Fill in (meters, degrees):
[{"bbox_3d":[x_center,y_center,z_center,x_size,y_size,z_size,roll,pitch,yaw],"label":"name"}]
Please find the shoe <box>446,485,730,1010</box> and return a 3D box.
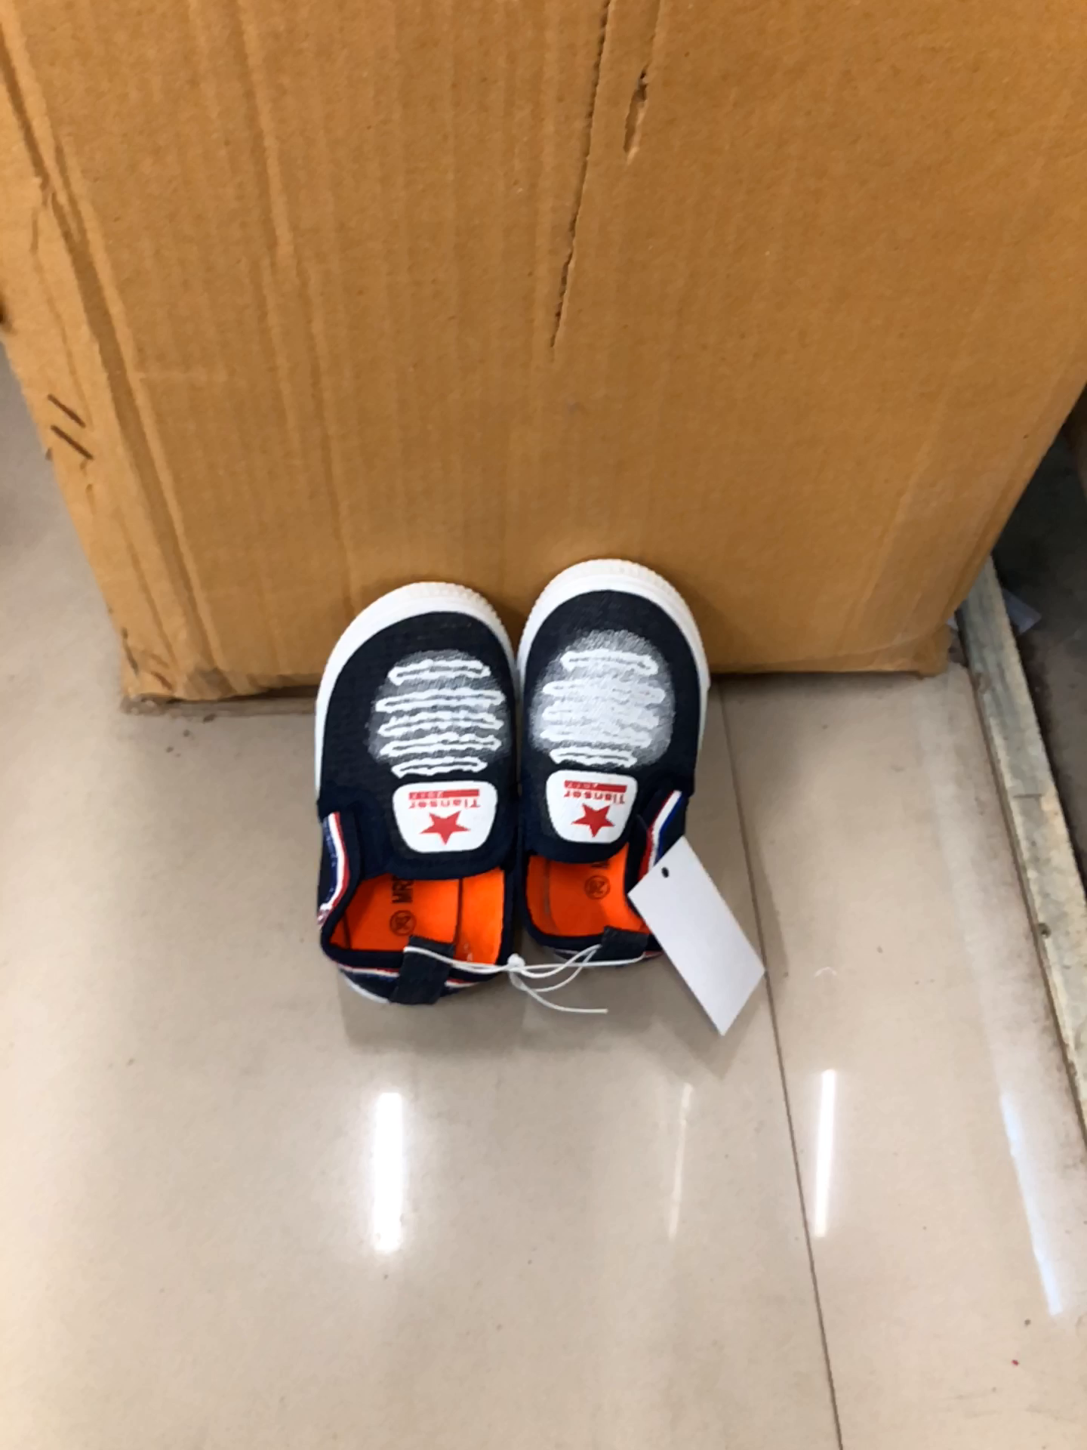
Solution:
[{"bbox_3d":[0.012,0.006,0.420,0.080,0.159,0.081,3,21,0],"label":"shoe"}]
